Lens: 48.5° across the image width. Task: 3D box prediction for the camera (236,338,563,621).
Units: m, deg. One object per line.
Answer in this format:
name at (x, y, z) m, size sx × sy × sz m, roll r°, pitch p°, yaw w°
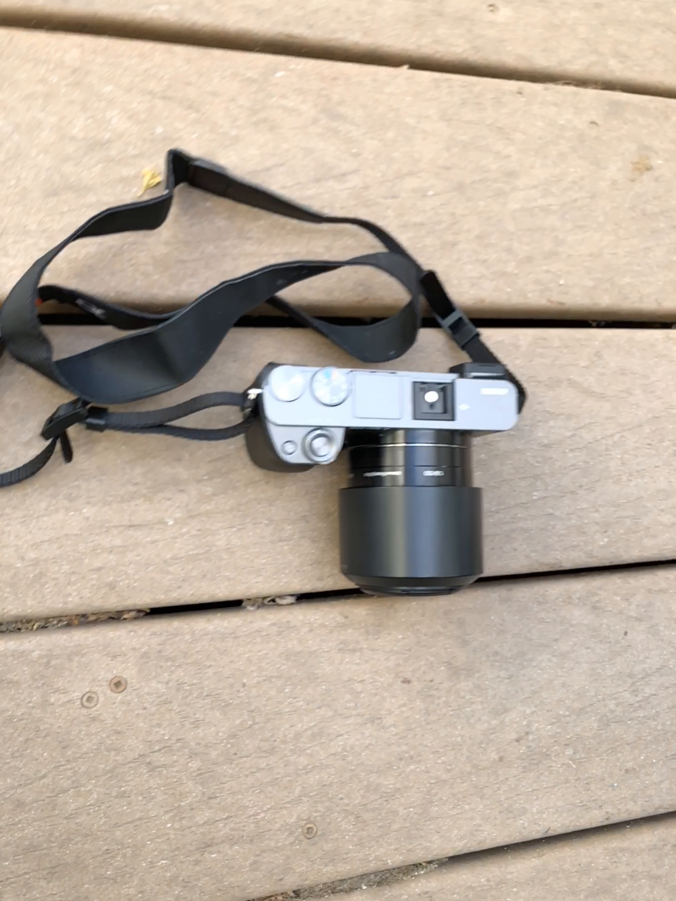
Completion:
camera at (0.023, 0.014, 0.342) m, size 0.130 × 0.070 × 0.110 m, roll 1°, pitch 85°, yaw -16°
